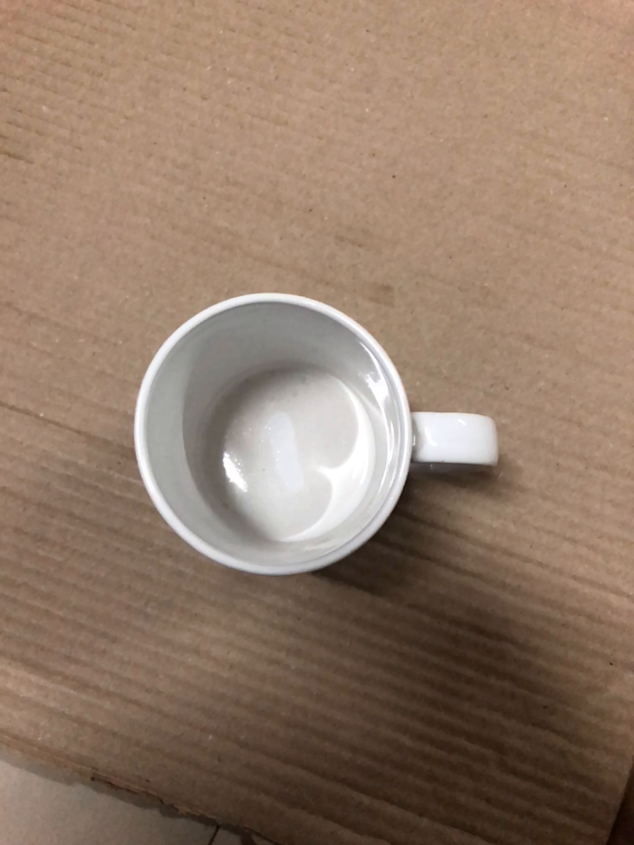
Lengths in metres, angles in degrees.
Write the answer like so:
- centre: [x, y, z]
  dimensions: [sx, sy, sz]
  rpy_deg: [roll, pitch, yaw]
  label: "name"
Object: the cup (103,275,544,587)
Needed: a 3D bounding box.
- centre: [0.002, 0.009, 0.229]
  dimensions: [0.110, 0.090, 0.080]
  rpy_deg: [1, 79, 0]
  label: "cup"
